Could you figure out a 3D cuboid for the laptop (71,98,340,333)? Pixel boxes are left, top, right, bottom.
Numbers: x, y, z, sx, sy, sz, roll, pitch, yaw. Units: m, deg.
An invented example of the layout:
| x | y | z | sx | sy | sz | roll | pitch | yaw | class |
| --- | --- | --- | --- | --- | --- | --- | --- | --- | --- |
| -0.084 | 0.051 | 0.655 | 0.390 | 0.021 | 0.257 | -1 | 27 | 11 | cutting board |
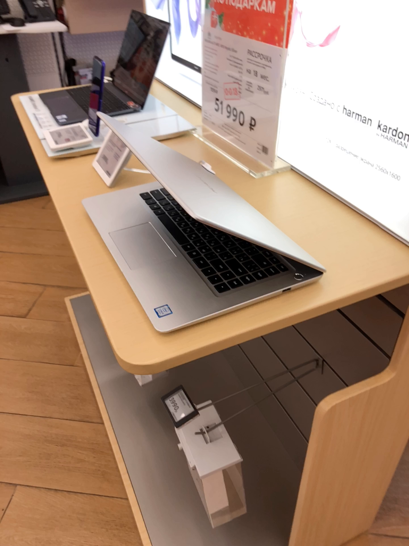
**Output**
| x | y | z | sx | sy | sz | roll | pitch | yaw | class |
| --- | --- | --- | --- | --- | --- | --- | --- | --- | --- |
| -0.024 | -0.112 | 0.625 | 0.230 | 0.135 | 0.344 | -17 | 39 | -19 | laptop |
